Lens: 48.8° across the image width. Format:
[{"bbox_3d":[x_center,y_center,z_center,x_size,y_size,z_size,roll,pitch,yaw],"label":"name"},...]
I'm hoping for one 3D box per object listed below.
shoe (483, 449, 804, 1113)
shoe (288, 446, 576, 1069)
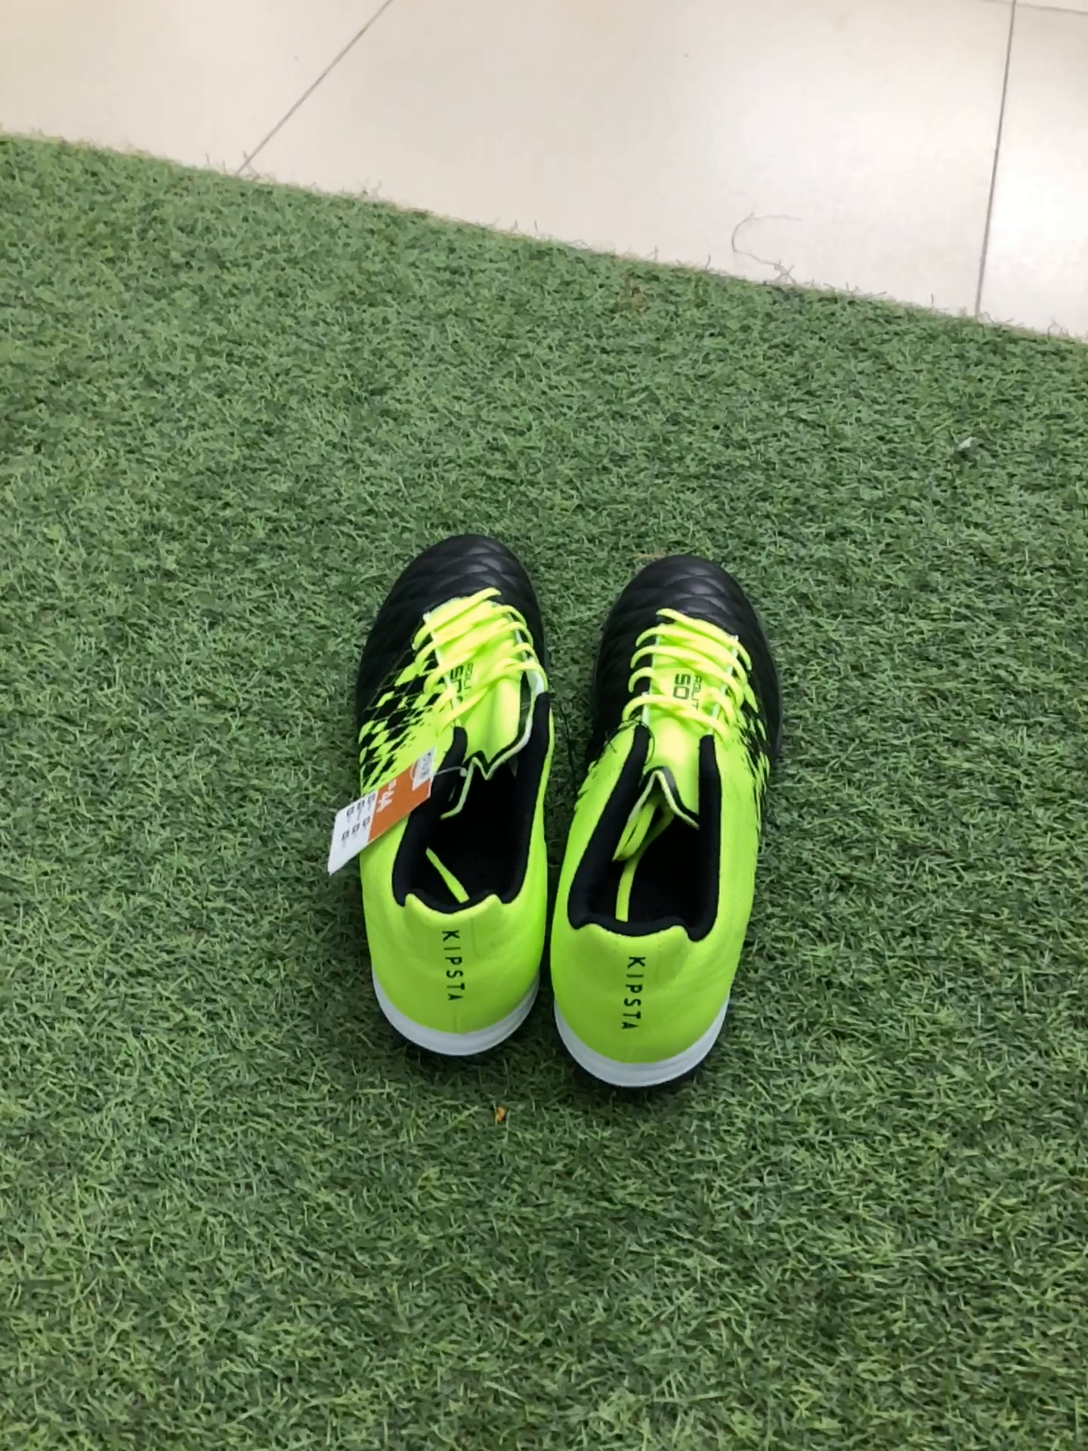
[{"bbox_3d":[0.051,0.009,0.528,0.100,0.089,0.282,8,53,5],"label":"shoe"},{"bbox_3d":[-0.041,0.001,0.540,0.100,0.089,0.282,0,52,-1],"label":"shoe"}]
